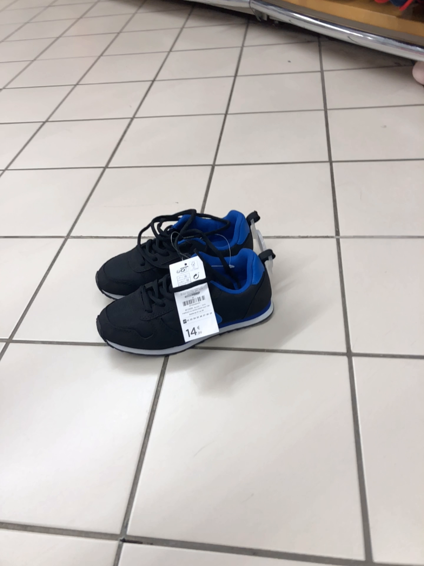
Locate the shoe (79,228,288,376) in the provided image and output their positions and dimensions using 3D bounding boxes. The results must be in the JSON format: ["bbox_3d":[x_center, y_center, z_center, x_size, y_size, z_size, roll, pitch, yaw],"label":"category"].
[{"bbox_3d":[-0.030,0.018,0.519,0.212,0.071,0.085,-16,44,-8],"label":"shoe"}]

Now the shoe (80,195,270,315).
[{"bbox_3d":[-0.045,-0.038,0.578,0.217,0.061,0.085,-14,44,-6],"label":"shoe"}]
